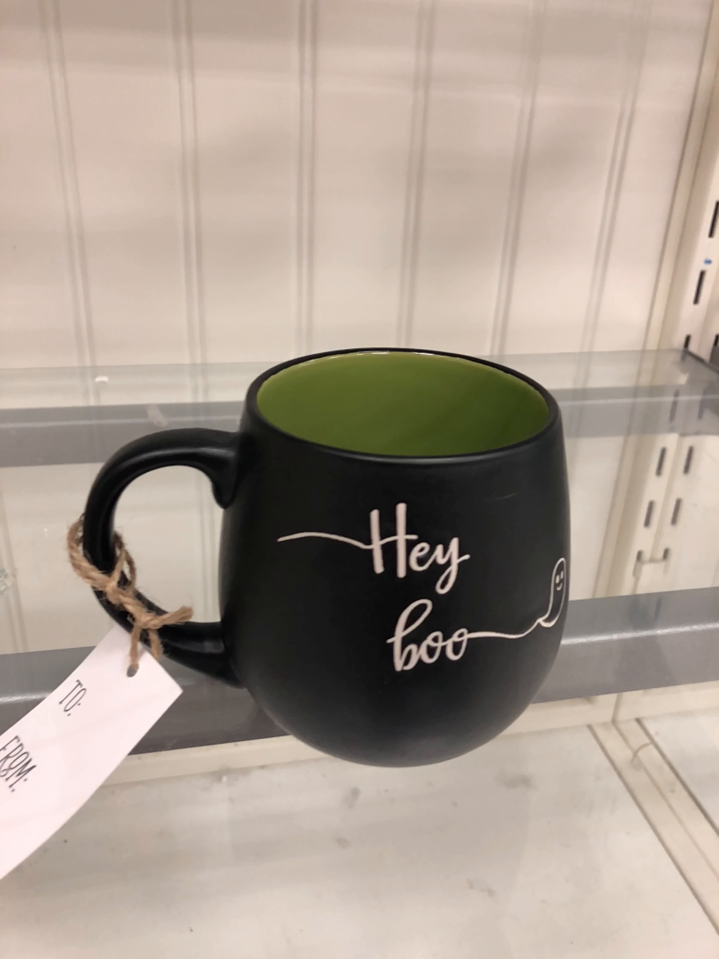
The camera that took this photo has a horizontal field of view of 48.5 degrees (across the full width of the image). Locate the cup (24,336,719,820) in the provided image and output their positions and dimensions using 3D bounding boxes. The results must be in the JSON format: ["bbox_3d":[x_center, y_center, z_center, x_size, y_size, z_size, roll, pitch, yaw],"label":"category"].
[{"bbox_3d":[-0.002,0.017,0.226,0.149,0.089,0.091,-3,26,-11],"label":"cup"}]
